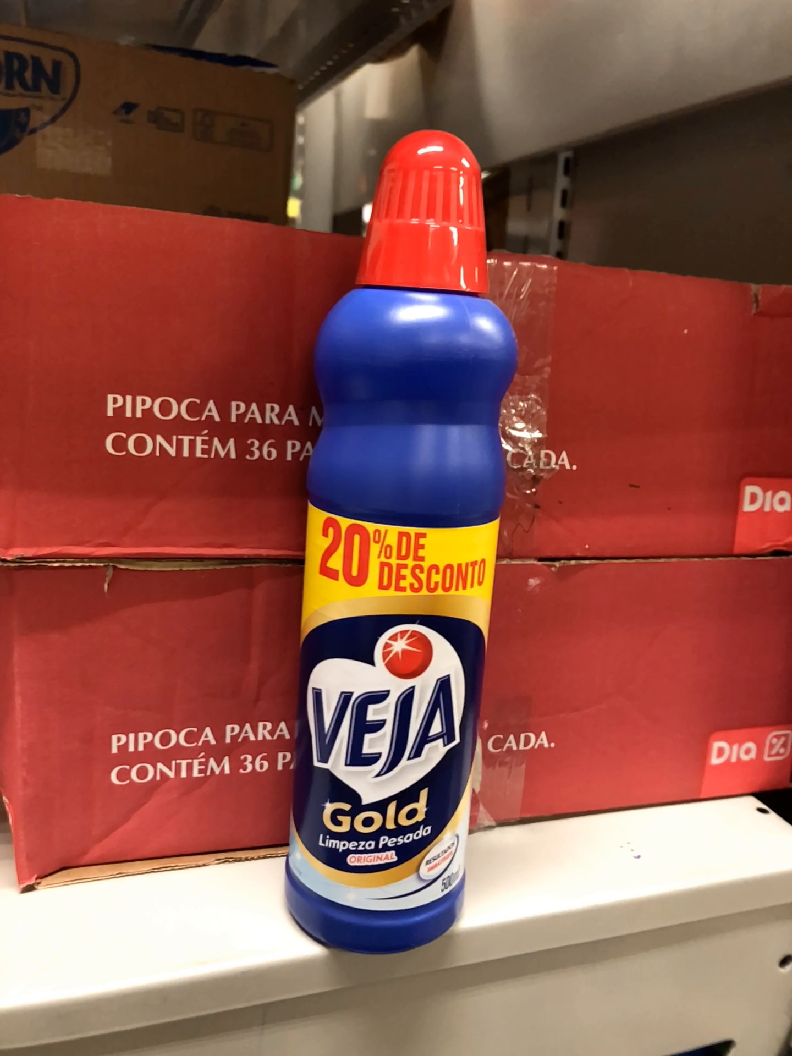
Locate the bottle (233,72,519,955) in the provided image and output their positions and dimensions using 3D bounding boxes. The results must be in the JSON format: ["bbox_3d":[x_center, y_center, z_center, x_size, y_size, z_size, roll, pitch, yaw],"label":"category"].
[{"bbox_3d":[-0.009,0.002,0.279,0.070,0.249,0.070,2,13,0],"label":"bottle"}]
